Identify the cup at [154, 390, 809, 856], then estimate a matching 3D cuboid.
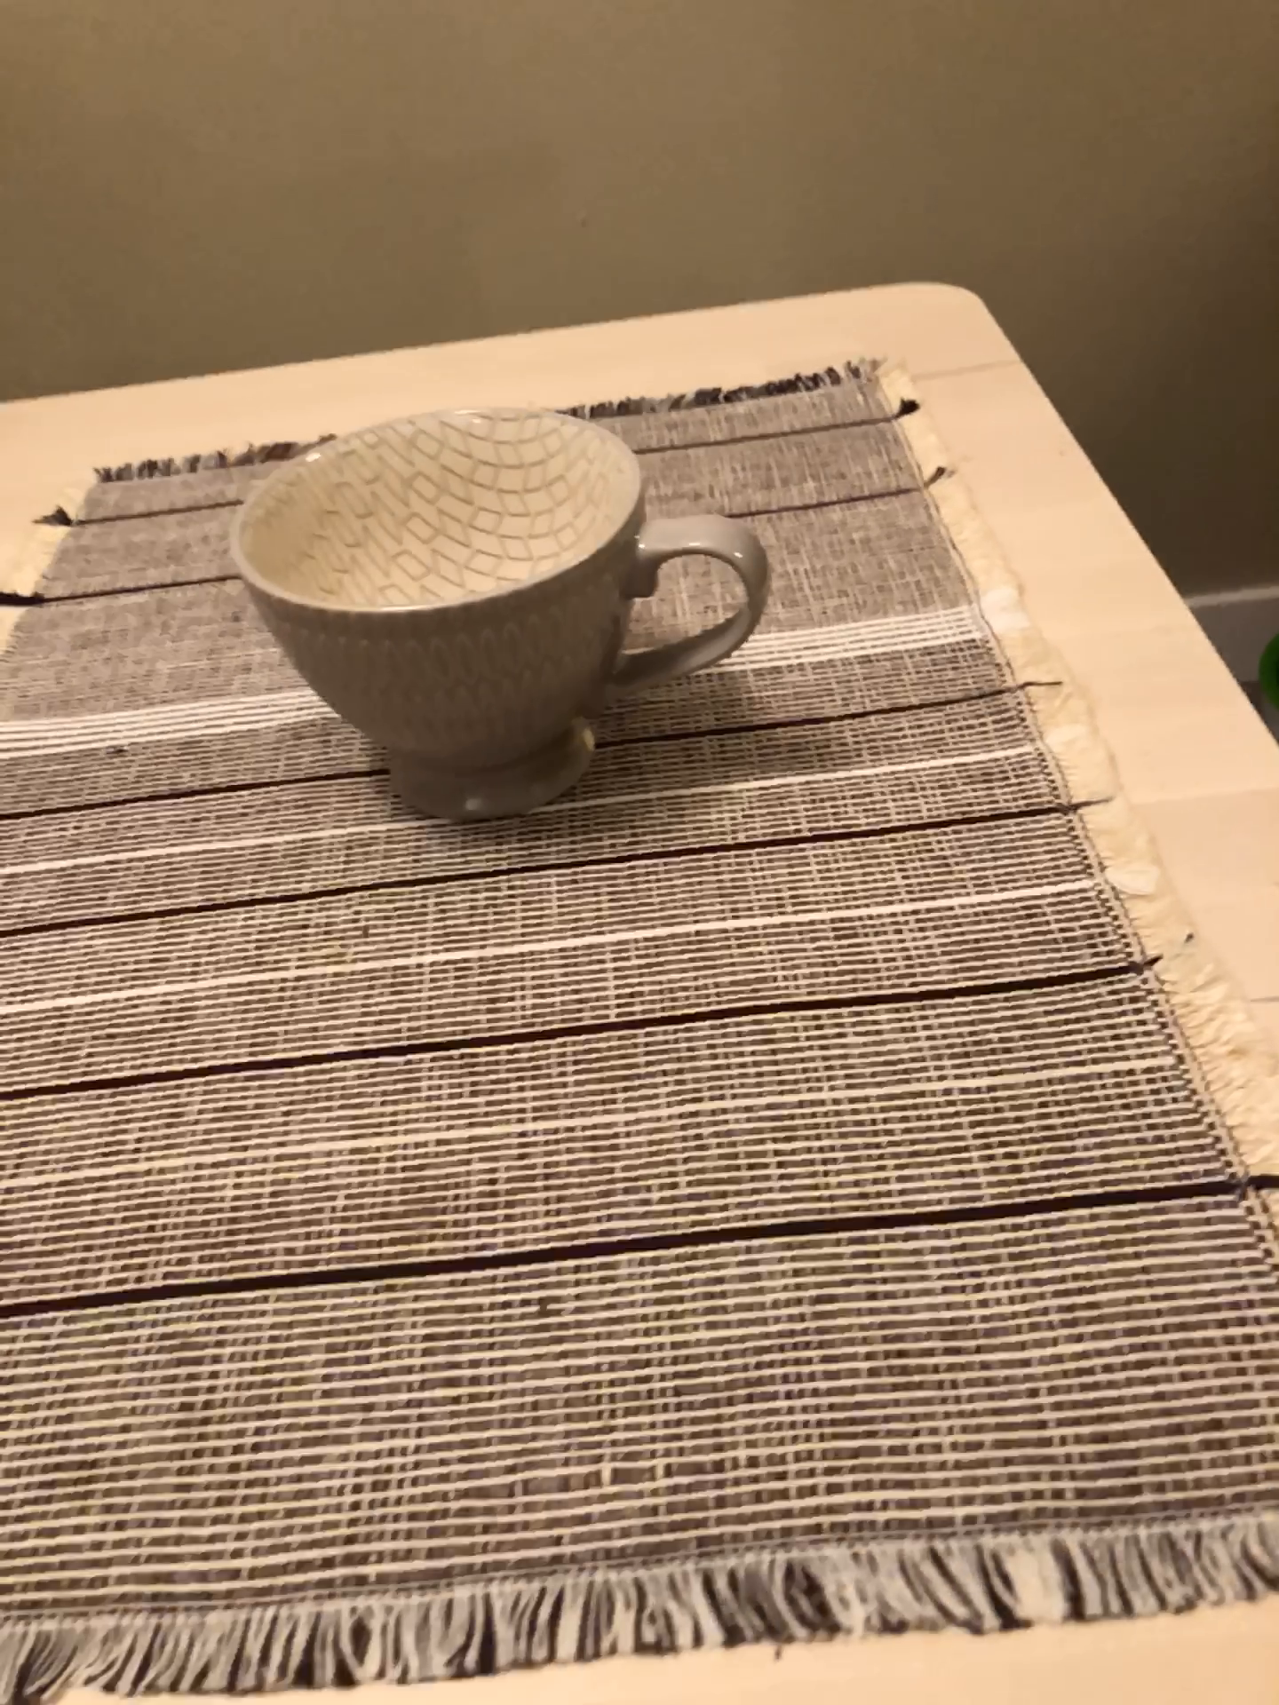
[{"bbox_3d":[-0.033,-0.067,0.401,0.150,0.080,0.111,1,41,11],"label":"cup"}]
